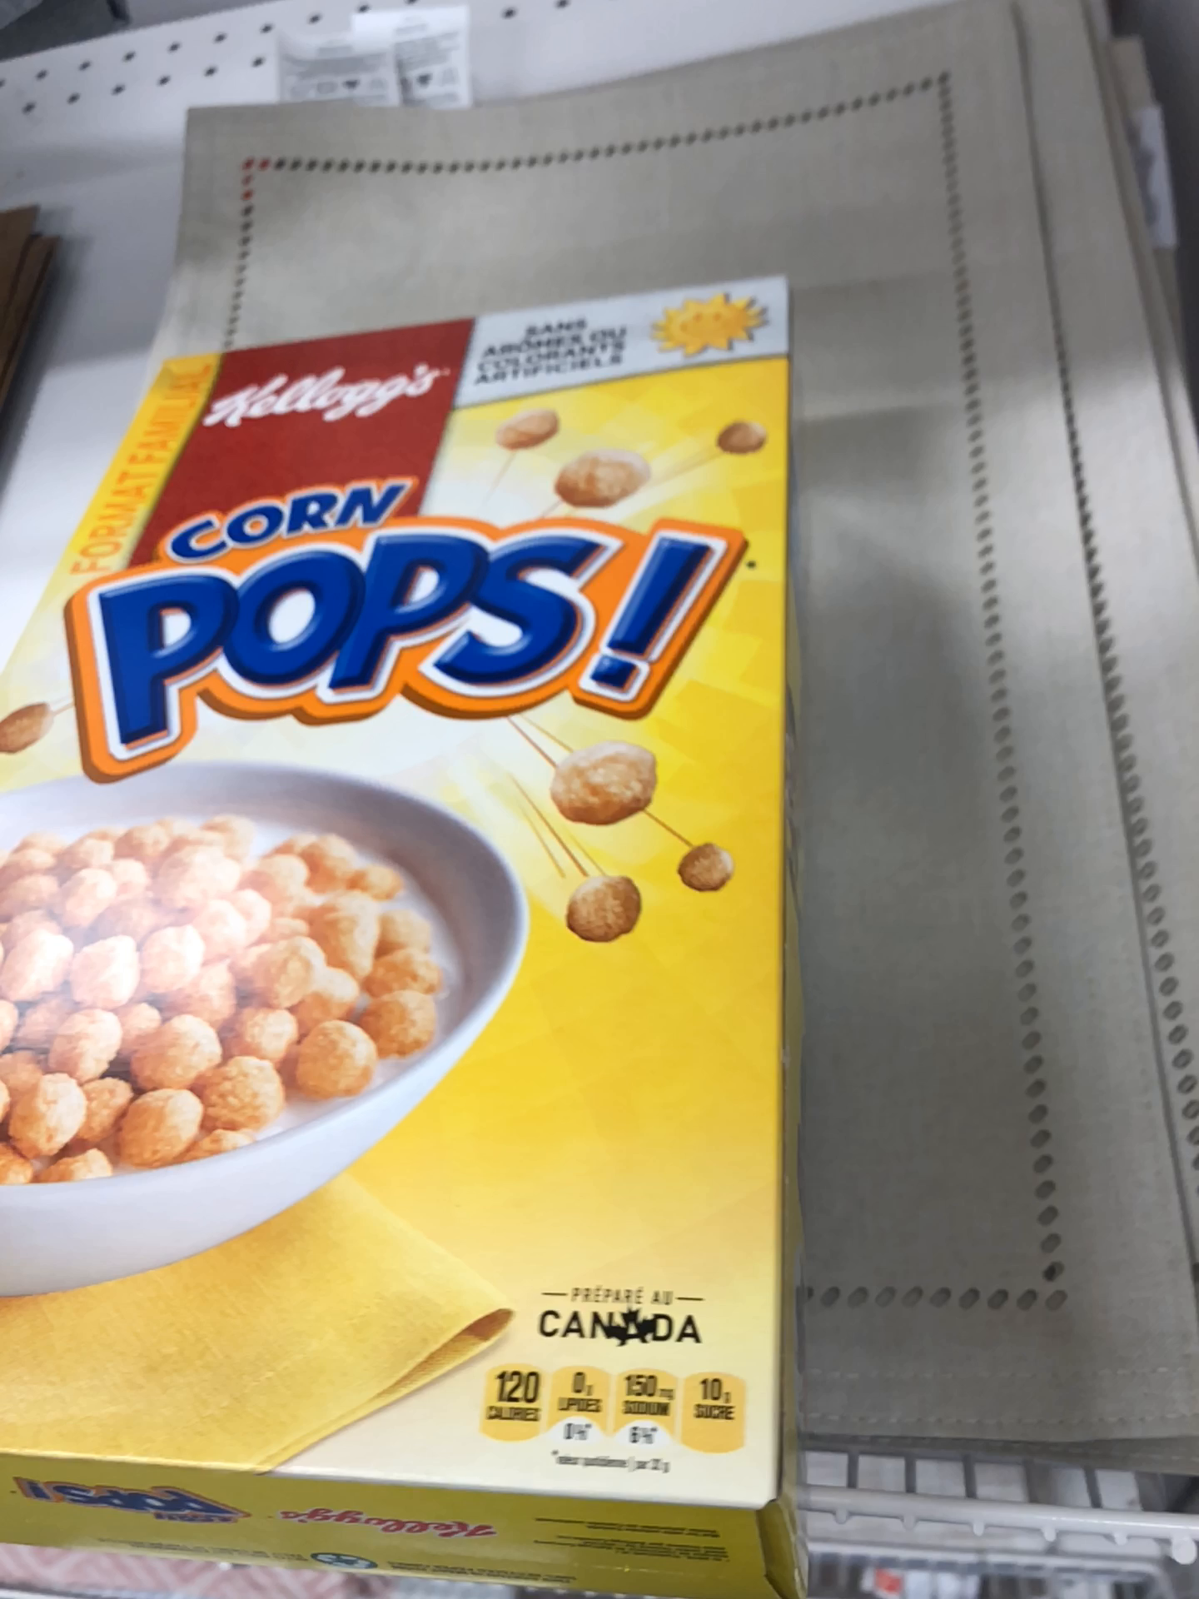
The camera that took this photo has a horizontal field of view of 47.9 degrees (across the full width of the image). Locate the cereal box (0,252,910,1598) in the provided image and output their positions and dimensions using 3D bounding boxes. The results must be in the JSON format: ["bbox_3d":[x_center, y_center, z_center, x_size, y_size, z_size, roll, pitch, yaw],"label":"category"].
[{"bbox_3d":[-0.046,-0.002,0.344,0.220,0.080,0.341,-1,51,9],"label":"cereal box"}]
